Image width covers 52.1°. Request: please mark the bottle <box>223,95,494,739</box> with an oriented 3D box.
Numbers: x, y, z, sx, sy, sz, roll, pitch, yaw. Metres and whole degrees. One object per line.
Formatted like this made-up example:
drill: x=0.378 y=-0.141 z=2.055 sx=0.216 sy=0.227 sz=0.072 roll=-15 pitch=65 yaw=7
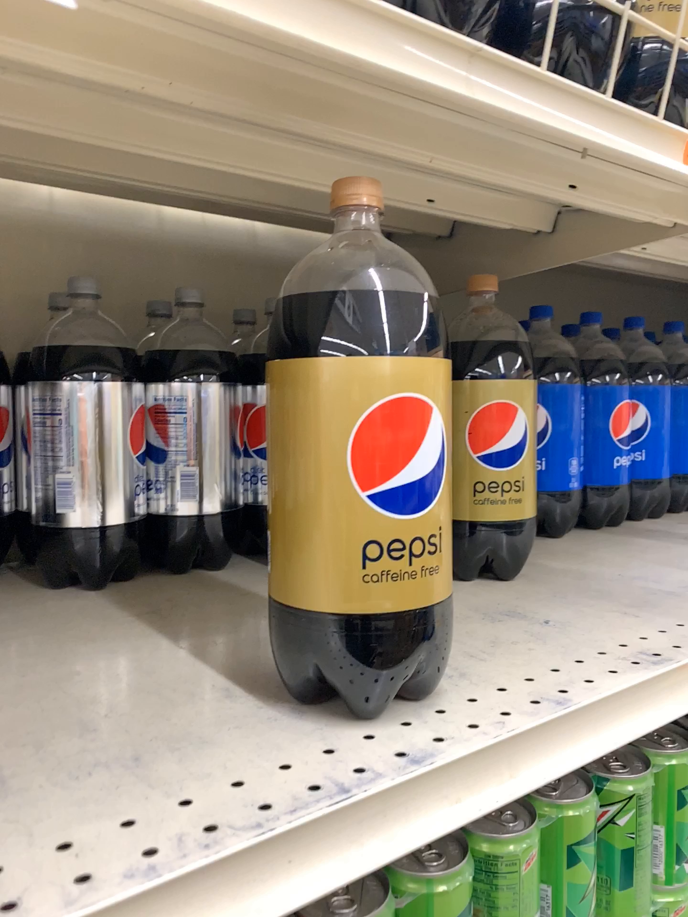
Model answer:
bottle: x=0.005 y=-0.021 z=0.403 sx=0.110 sy=0.300 sz=0.110 roll=0 pitch=4 yaw=0
